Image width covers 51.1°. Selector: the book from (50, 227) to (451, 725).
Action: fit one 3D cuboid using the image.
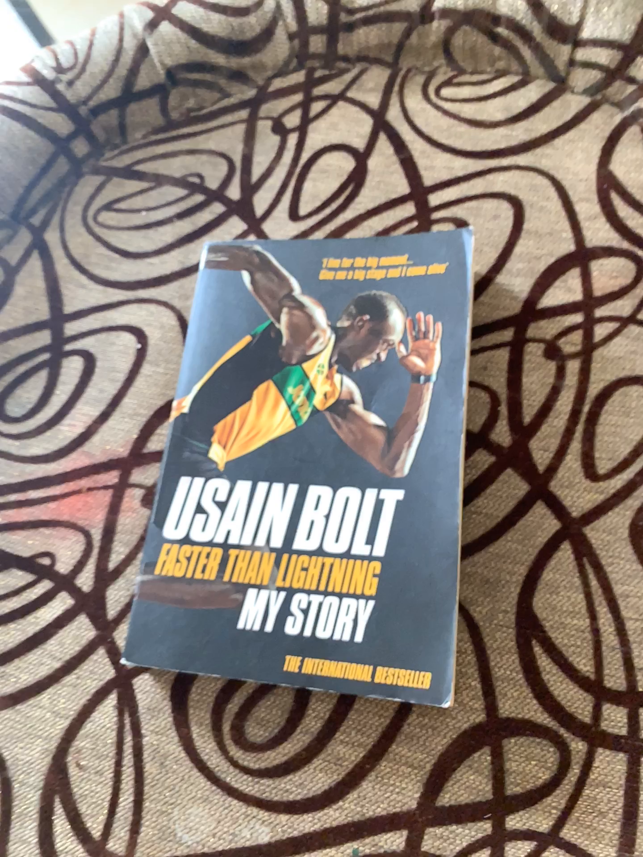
[{"bbox_3d":[-0.022,0.008,0.290,0.140,0.030,0.201,3,70,14],"label":"book"}]
